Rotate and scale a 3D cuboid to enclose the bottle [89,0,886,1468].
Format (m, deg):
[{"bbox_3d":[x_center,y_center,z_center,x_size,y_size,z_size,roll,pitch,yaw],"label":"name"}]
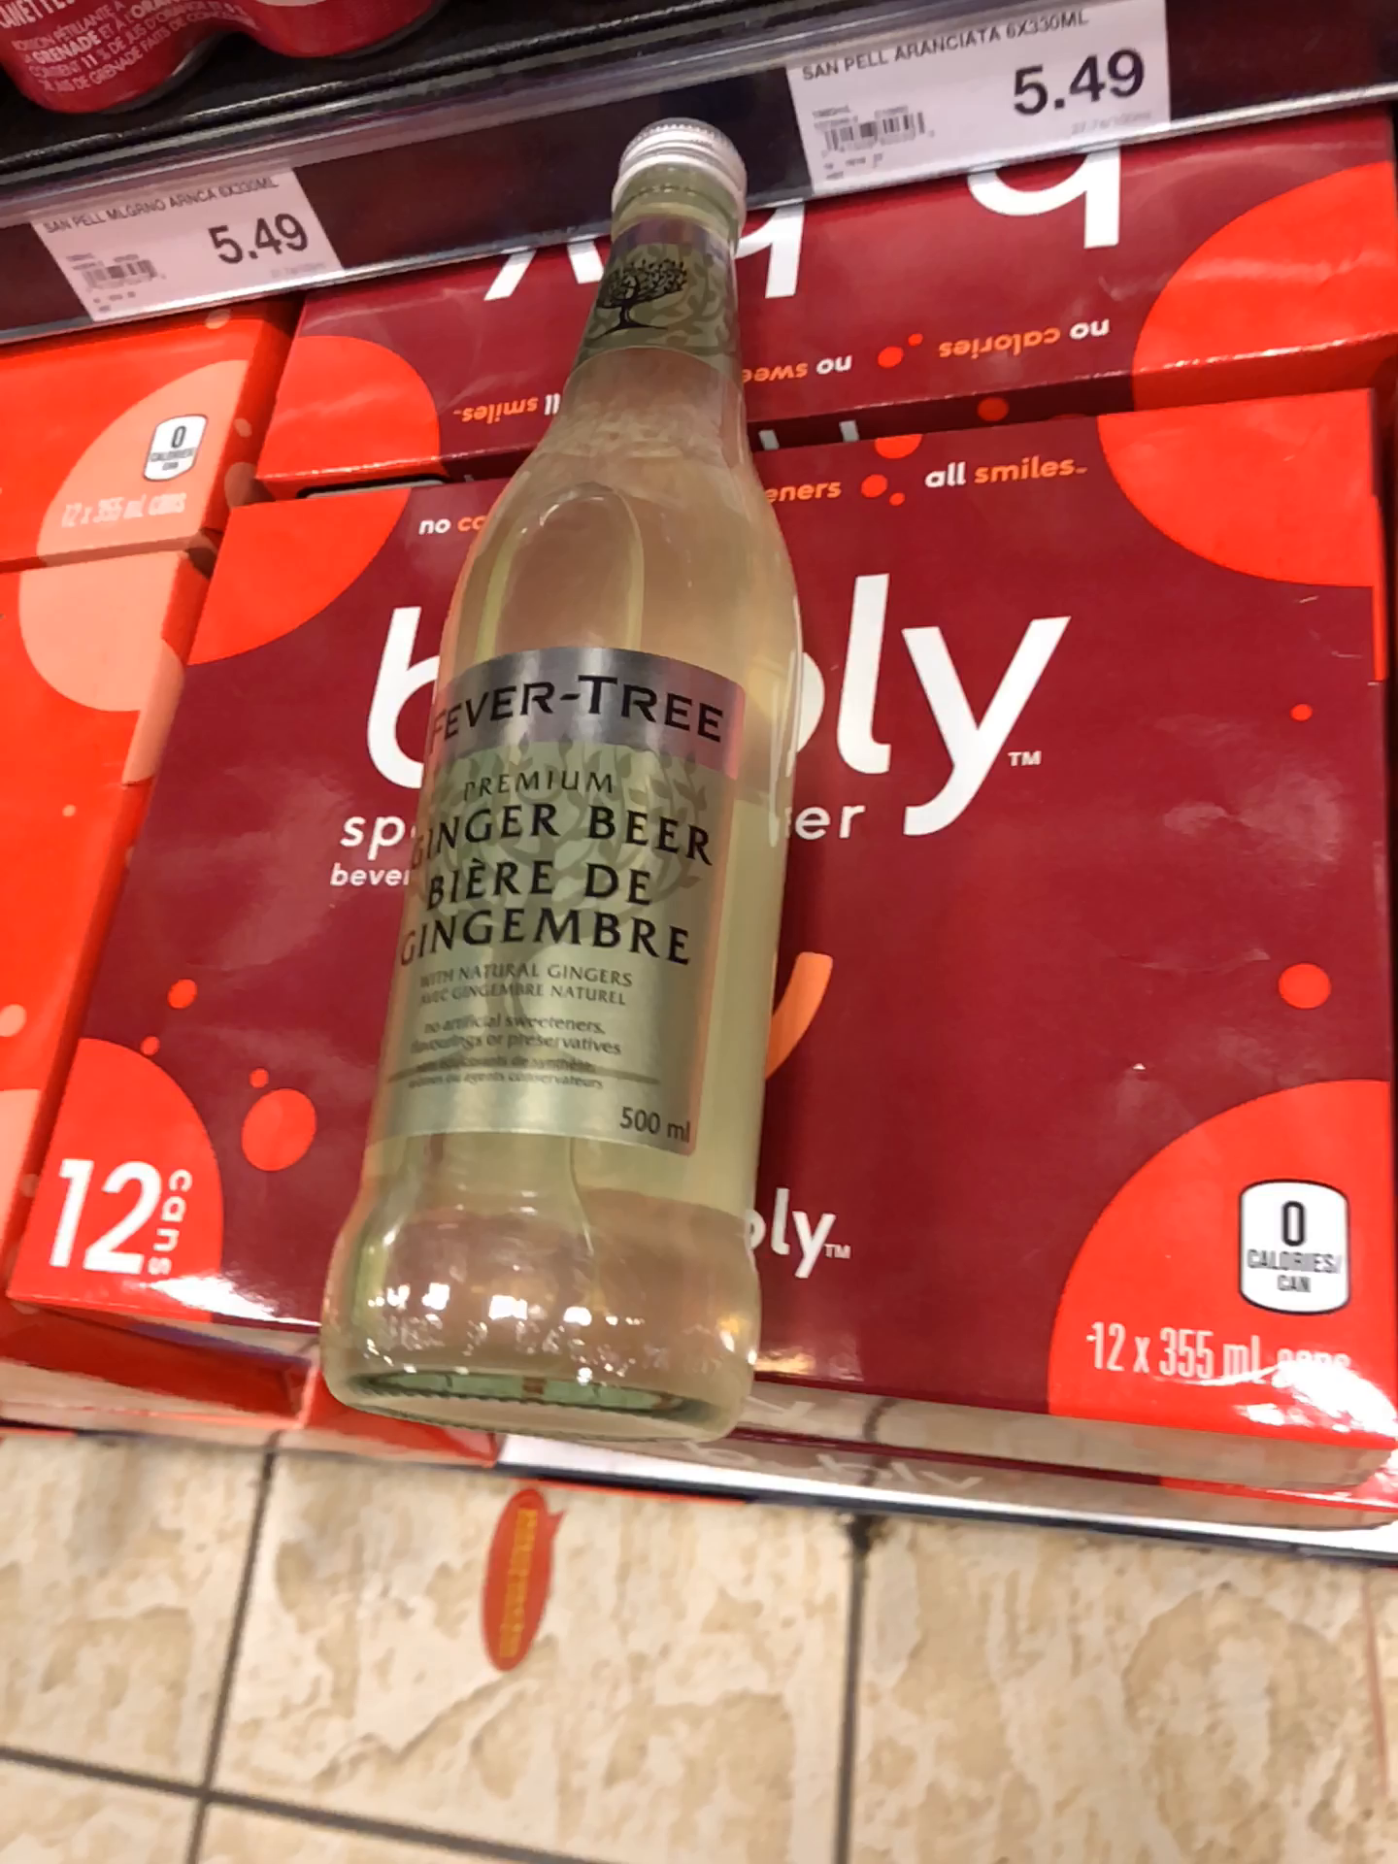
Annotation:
[{"bbox_3d":[-0.018,-0.054,0.274,0.080,0.080,0.270,-3,66,18],"label":"bottle"}]
